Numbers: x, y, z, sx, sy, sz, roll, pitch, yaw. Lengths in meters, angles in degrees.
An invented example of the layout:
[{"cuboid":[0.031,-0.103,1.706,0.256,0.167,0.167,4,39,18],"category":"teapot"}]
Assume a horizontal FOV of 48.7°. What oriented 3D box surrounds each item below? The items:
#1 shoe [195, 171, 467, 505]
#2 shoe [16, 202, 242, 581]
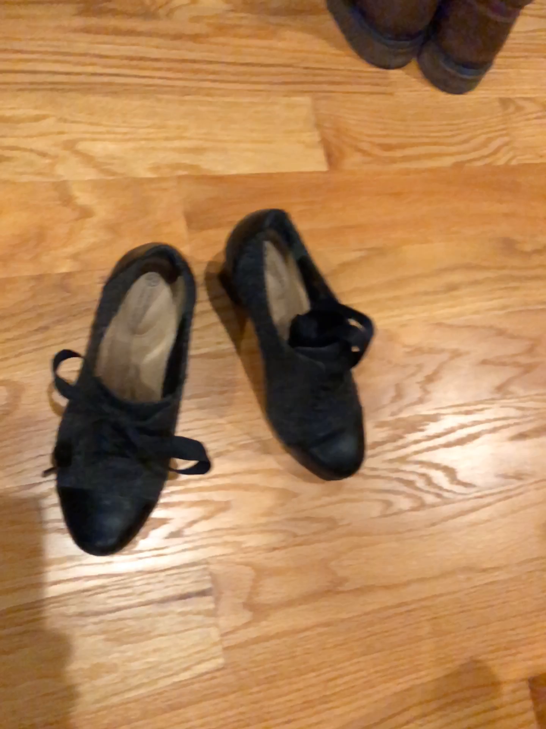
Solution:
[{"cuboid":[0.034,-0.012,0.478,0.088,0.125,0.223,-24,84,-20],"category":"shoe"},{"cuboid":[-0.098,0.025,0.430,0.093,0.125,0.223,12,74,-13],"category":"shoe"}]
